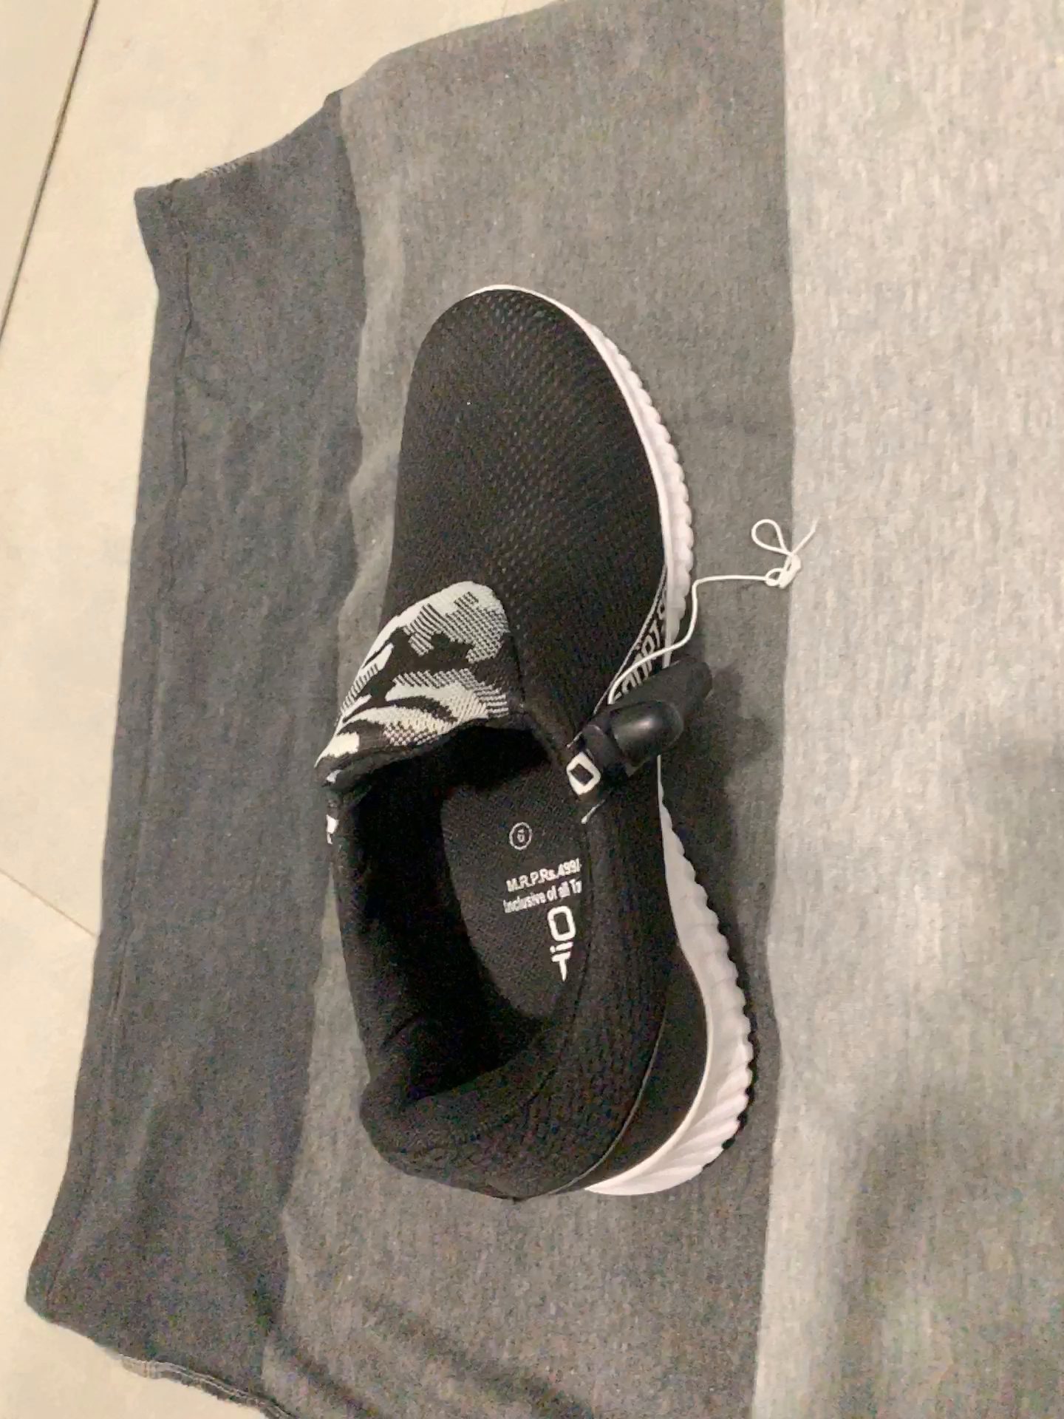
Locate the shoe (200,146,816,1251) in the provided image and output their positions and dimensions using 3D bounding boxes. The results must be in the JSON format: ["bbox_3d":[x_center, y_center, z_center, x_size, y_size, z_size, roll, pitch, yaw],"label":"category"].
[{"bbox_3d":[-0.011,0.002,0.295,0.100,0.100,0.240,-16,73,31],"label":"shoe"}]
